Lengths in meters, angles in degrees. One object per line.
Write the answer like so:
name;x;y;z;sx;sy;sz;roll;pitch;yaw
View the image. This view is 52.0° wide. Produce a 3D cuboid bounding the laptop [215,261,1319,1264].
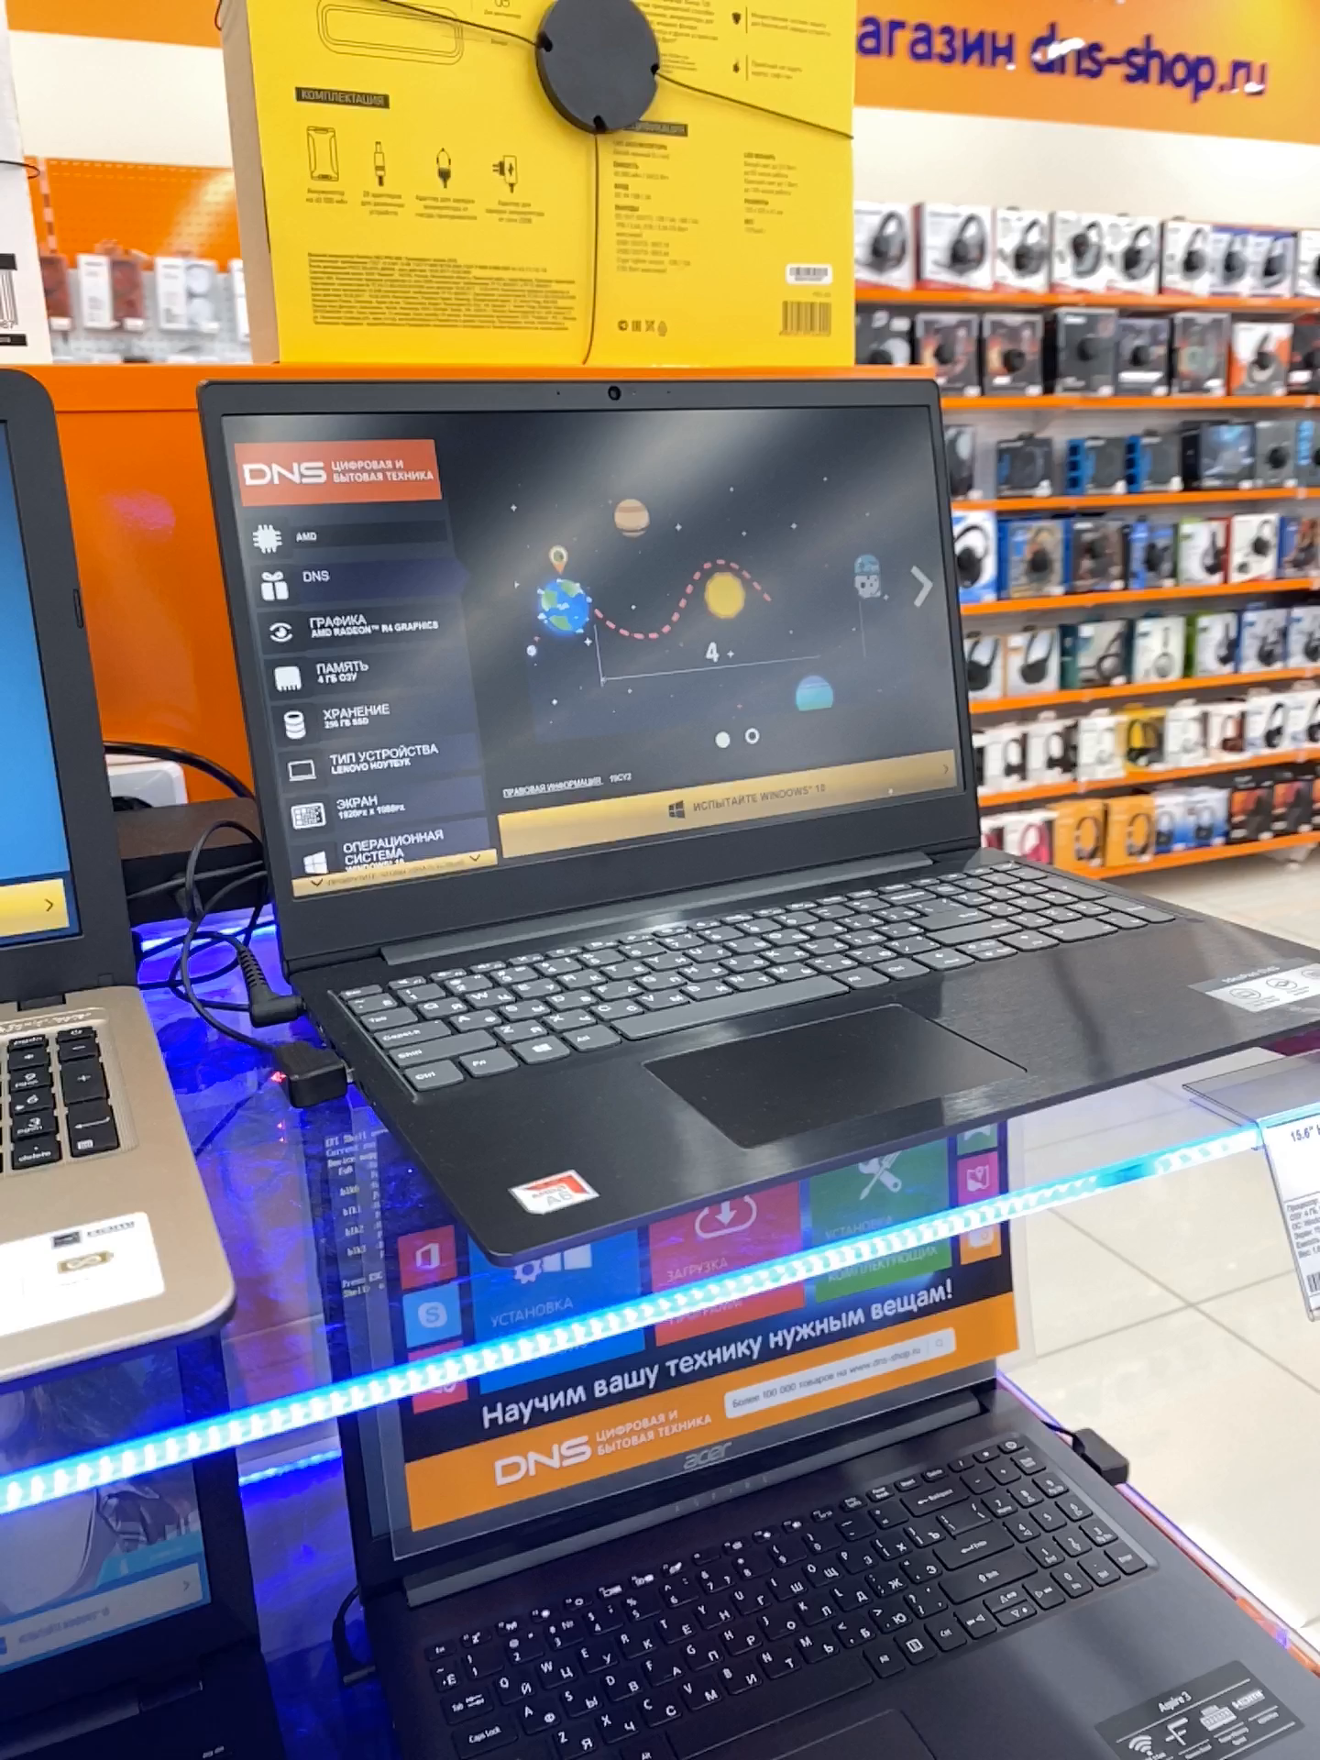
laptop;0.051;-0.079;0.515;0.358;0.233;0.298;-10;17;-25
